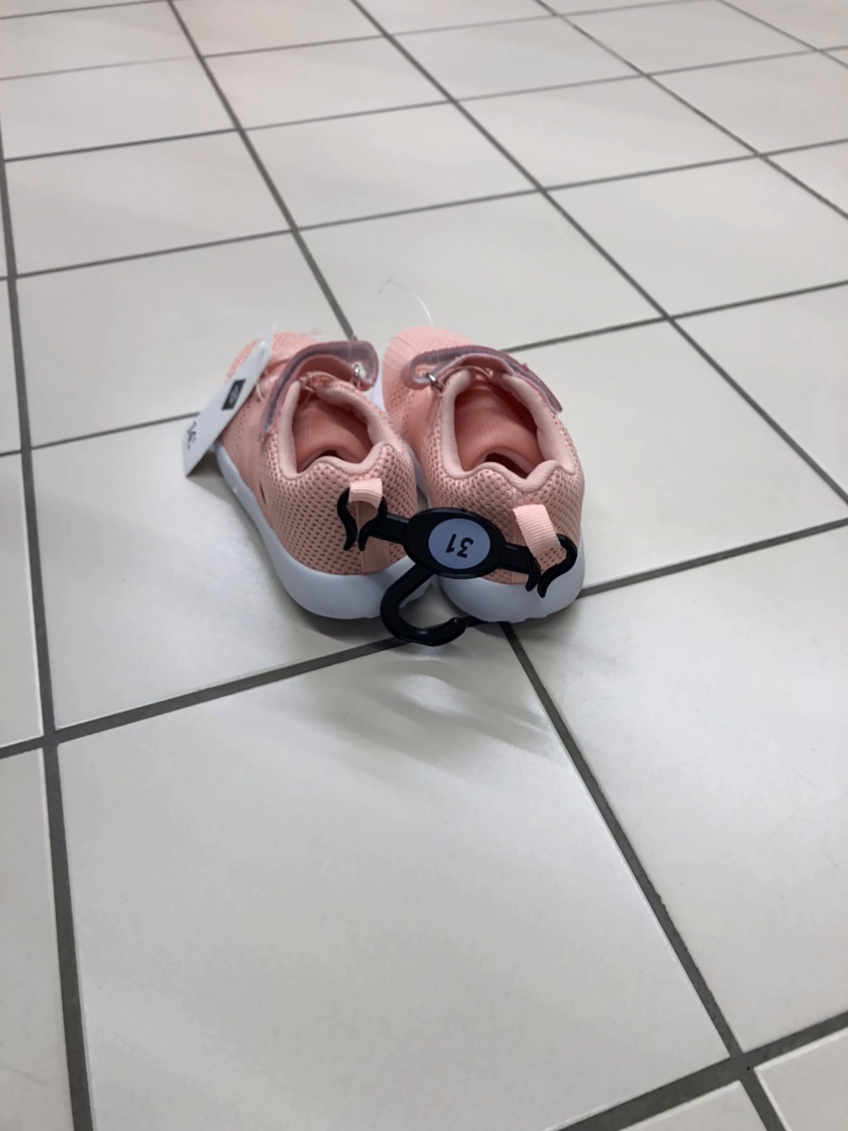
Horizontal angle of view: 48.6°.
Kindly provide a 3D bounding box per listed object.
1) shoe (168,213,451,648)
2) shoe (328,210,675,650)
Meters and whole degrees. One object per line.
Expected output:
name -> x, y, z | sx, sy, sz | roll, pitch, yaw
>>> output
shoe -> -0.060, -0.075, 0.451 | 0.083, 0.093, 0.204 | -13, 47, -12
shoe -> 0.024, -0.076, 0.451 | 0.080, 0.092, 0.211 | -14, 47, -13
